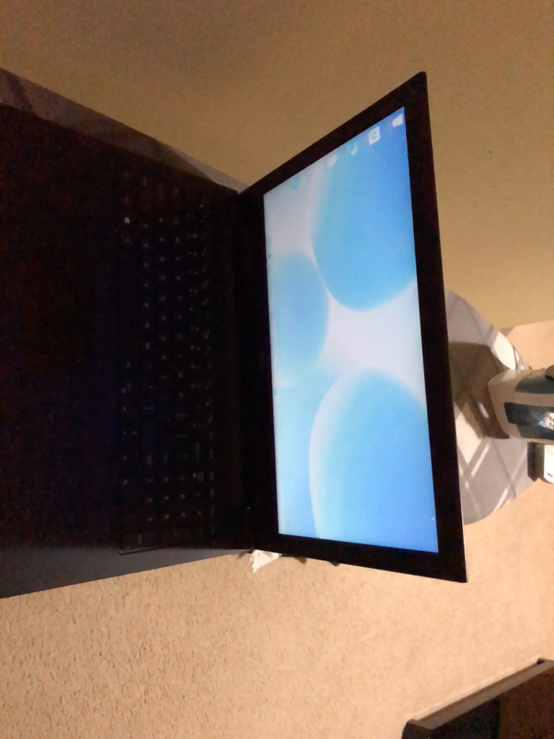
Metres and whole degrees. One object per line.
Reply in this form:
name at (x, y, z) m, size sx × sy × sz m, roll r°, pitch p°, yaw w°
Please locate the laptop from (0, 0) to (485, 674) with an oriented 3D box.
laptop at (-0.036, -0.027, 0.437) m, size 0.248 × 0.231 × 0.352 m, roll 5°, pitch 79°, yaw -45°
